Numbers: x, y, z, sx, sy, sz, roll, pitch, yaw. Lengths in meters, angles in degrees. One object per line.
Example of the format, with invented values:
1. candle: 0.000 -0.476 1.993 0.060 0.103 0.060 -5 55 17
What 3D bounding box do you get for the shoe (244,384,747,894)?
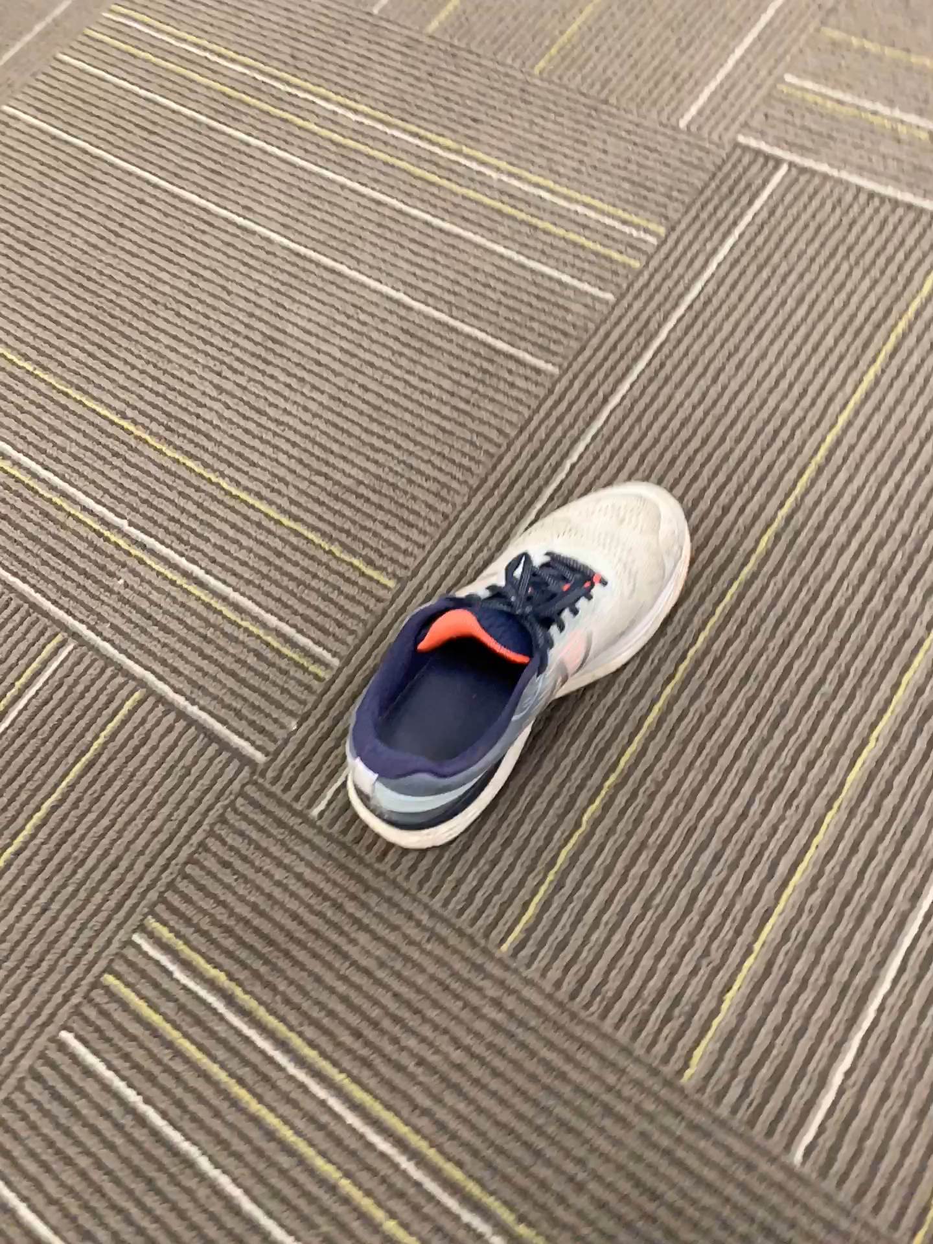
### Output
1. shoe: 0.024 0.005 0.587 0.130 0.080 0.290 39 76 21
